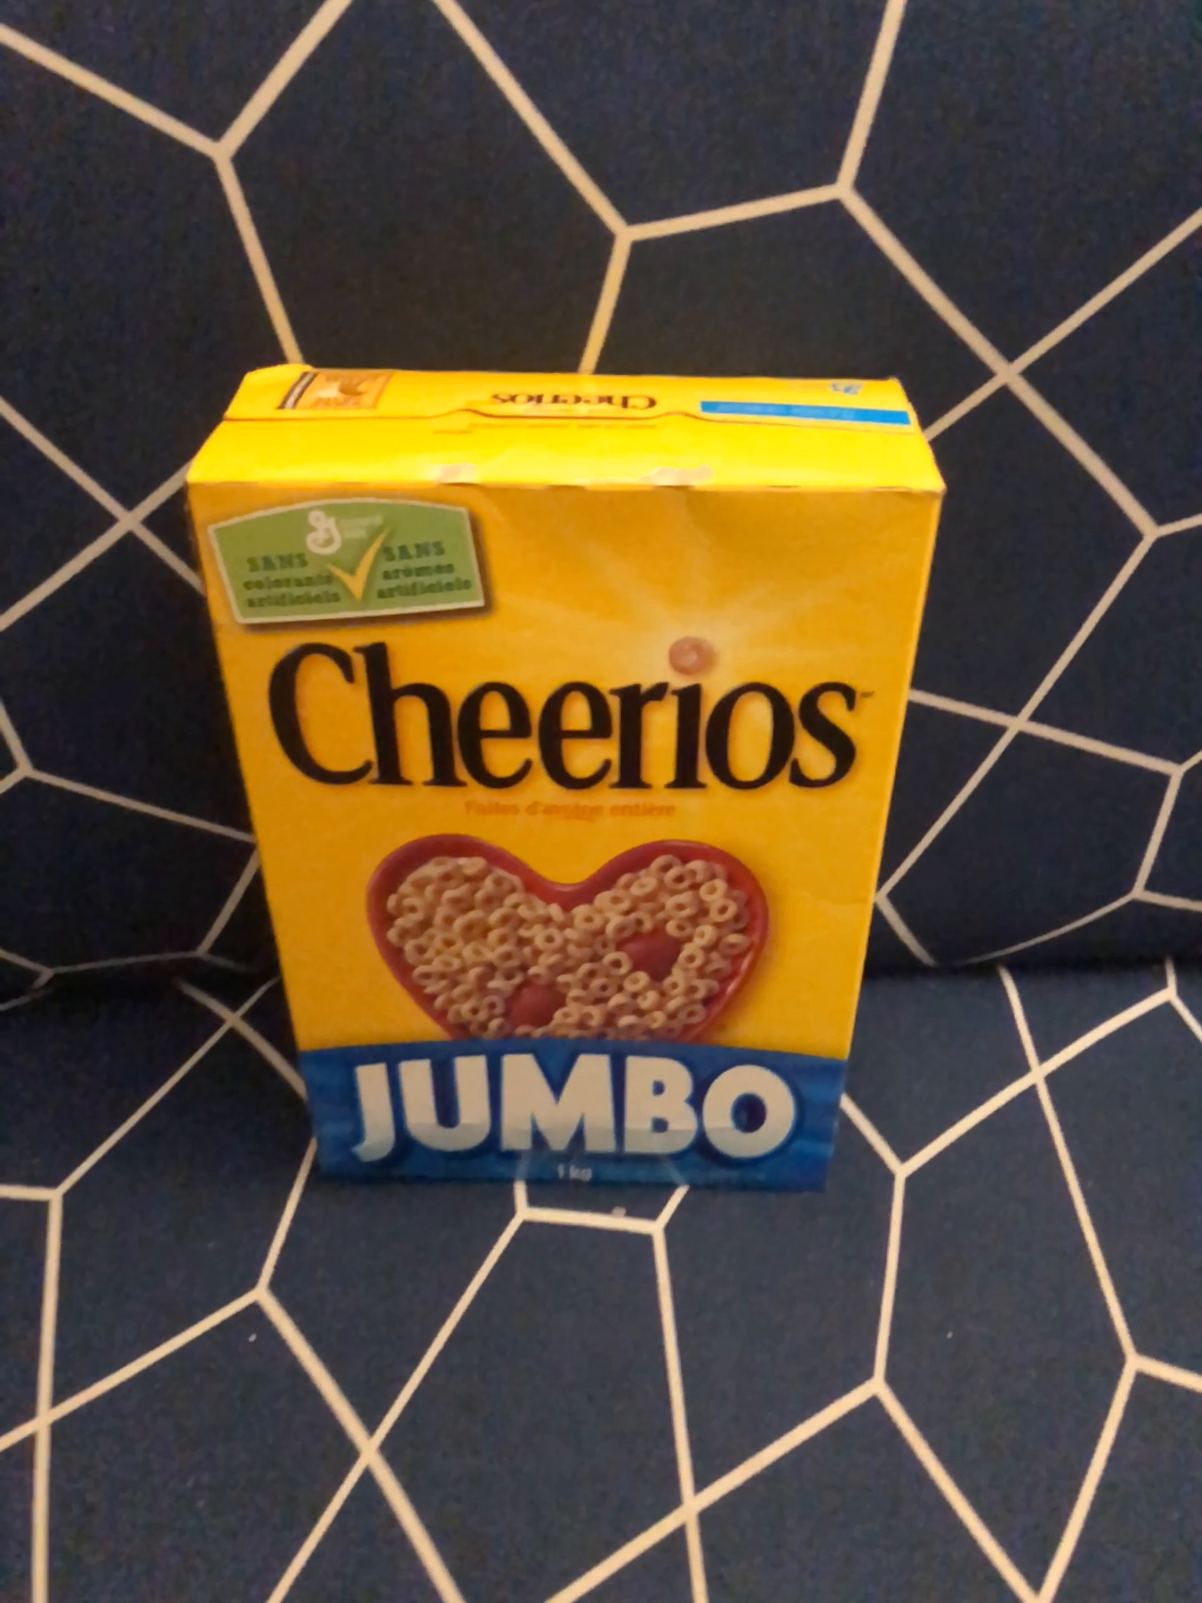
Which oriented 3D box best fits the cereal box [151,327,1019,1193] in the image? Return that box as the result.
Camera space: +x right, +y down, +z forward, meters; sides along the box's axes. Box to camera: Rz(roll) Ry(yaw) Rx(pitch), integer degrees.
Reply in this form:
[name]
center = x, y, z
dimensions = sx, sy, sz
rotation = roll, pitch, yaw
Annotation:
[cereal box]
center = -0.006, 0.004, 0.436
dimensions = 0.210, 0.288, 0.080
rotation = 1, 36, 0
